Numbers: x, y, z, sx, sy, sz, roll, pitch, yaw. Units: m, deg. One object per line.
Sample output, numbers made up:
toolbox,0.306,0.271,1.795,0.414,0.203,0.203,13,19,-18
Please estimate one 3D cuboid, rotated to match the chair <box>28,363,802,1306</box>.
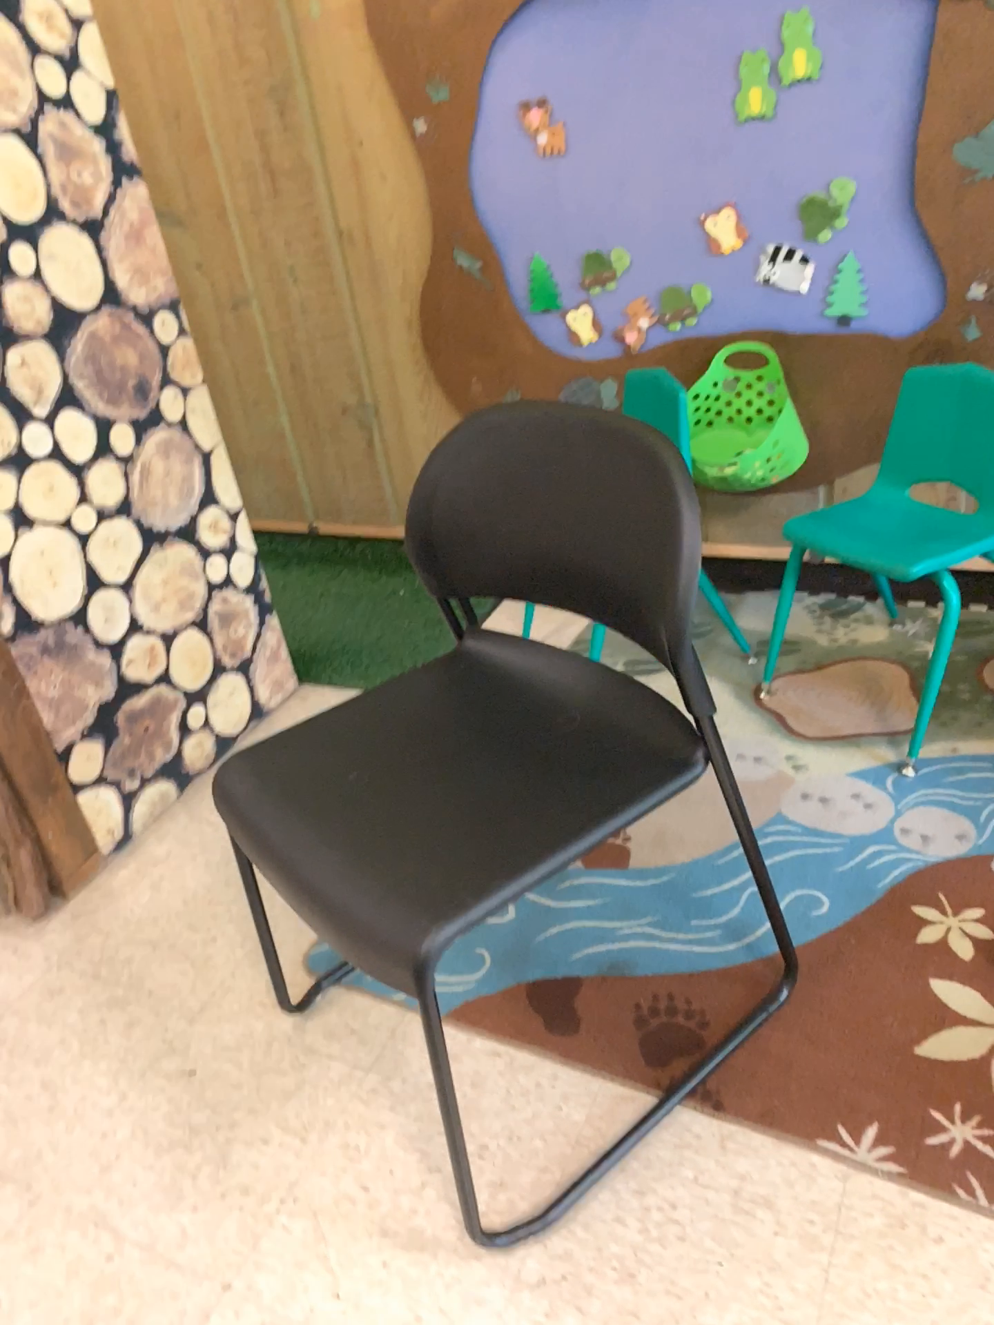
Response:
chair,-0.057,0.132,1.241,0.571,0.785,0.593,-28,34,-29
